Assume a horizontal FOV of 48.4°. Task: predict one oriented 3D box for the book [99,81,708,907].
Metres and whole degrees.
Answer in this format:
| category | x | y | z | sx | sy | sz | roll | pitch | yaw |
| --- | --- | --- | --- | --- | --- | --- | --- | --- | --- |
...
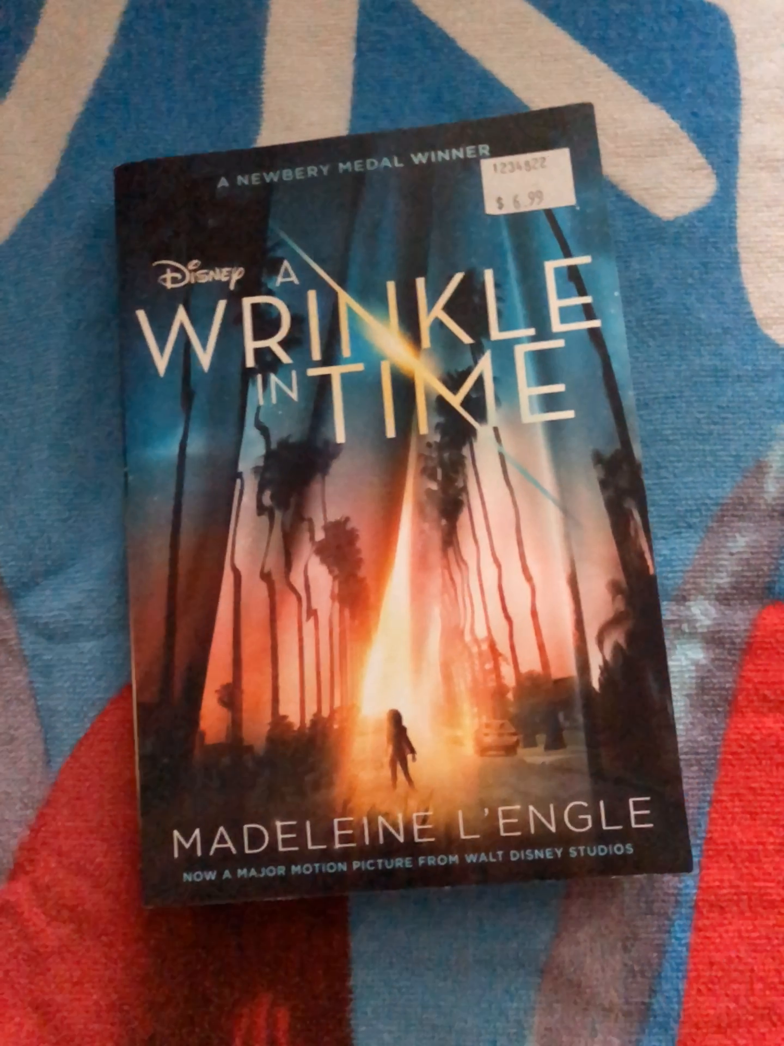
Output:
| category | x | y | z | sx | sy | sz | roll | pitch | yaw |
| --- | --- | --- | --- | --- | --- | --- | --- | --- | --- |
| book | -0.002 | -0.008 | 0.230 | 0.138 | 0.031 | 0.195 | -4 | 83 | 6 |
